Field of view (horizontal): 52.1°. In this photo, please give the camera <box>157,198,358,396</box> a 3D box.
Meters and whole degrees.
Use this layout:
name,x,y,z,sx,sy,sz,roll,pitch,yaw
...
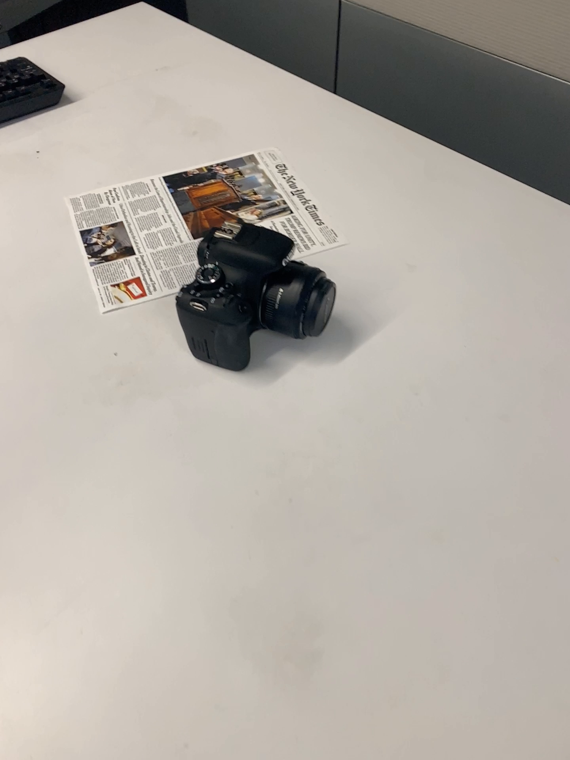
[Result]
name,x,y,z,sx,sy,sz,roll,pitch,yaw
camera,-0.020,-0.086,0.570,0.136,0.084,0.152,17,54,14
